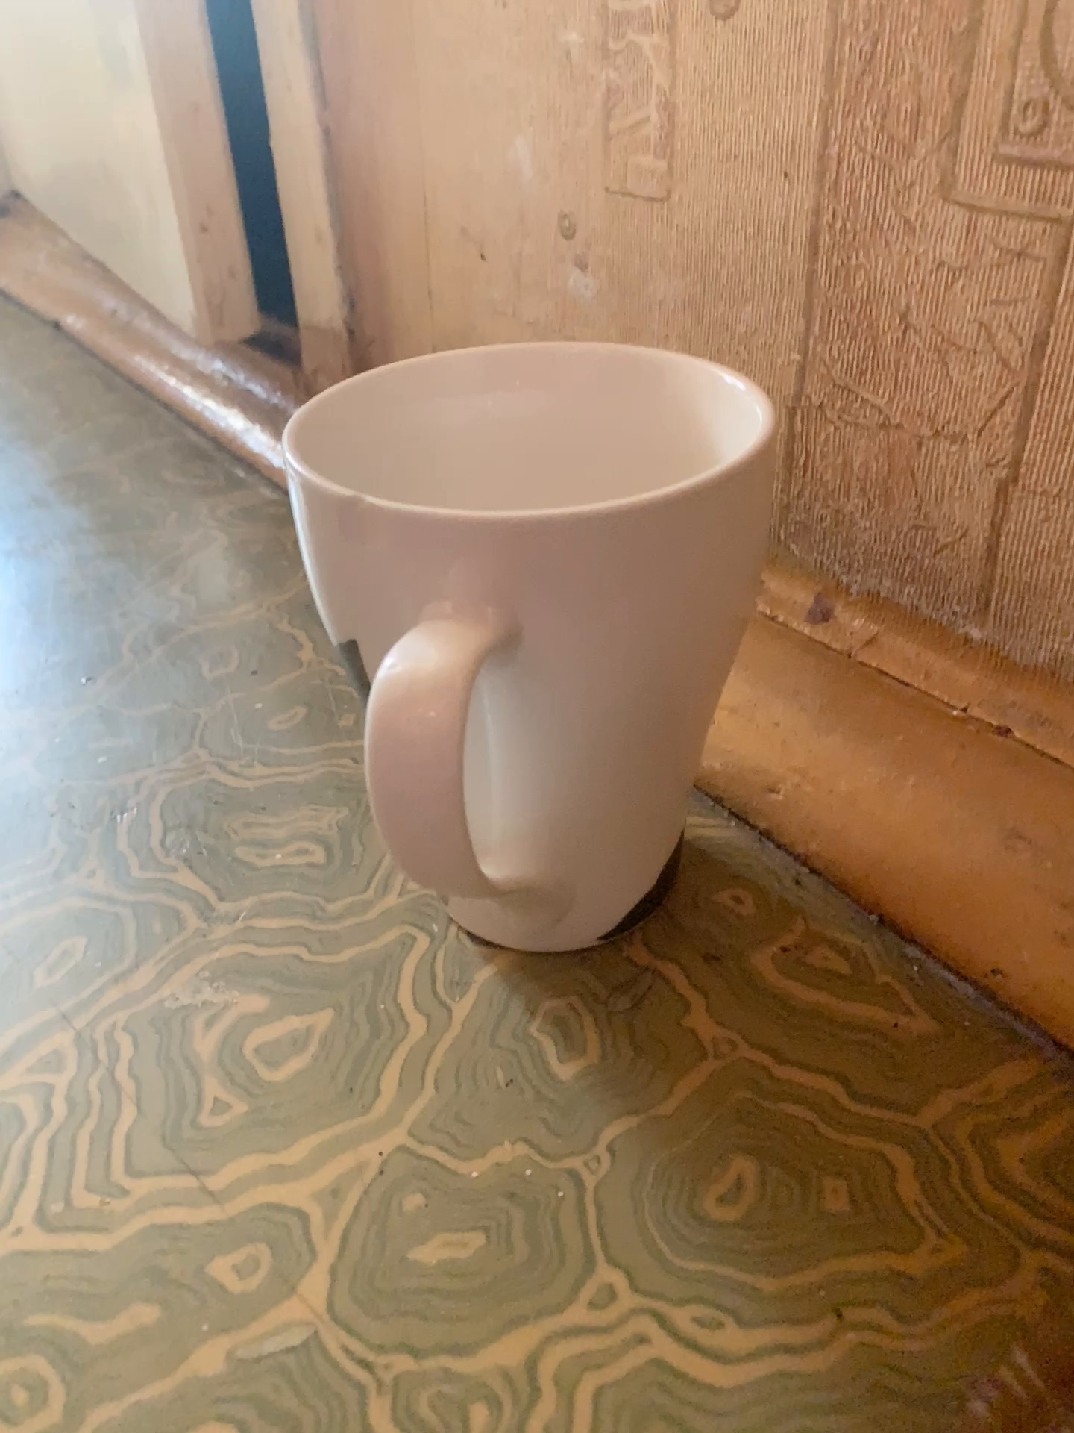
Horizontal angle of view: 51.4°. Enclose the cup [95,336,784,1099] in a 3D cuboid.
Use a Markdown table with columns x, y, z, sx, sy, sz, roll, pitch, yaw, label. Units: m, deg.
| x | y | z | sx | sy | sz | roll | pitch | yaw | label |
| --- | --- | --- | --- | --- | --- | --- | --- | --- | --- |
| -0.005 | -0.010 | 0.224 | 0.093 | 0.099 | 0.119 | 3 | 33 | 8 | cup |
